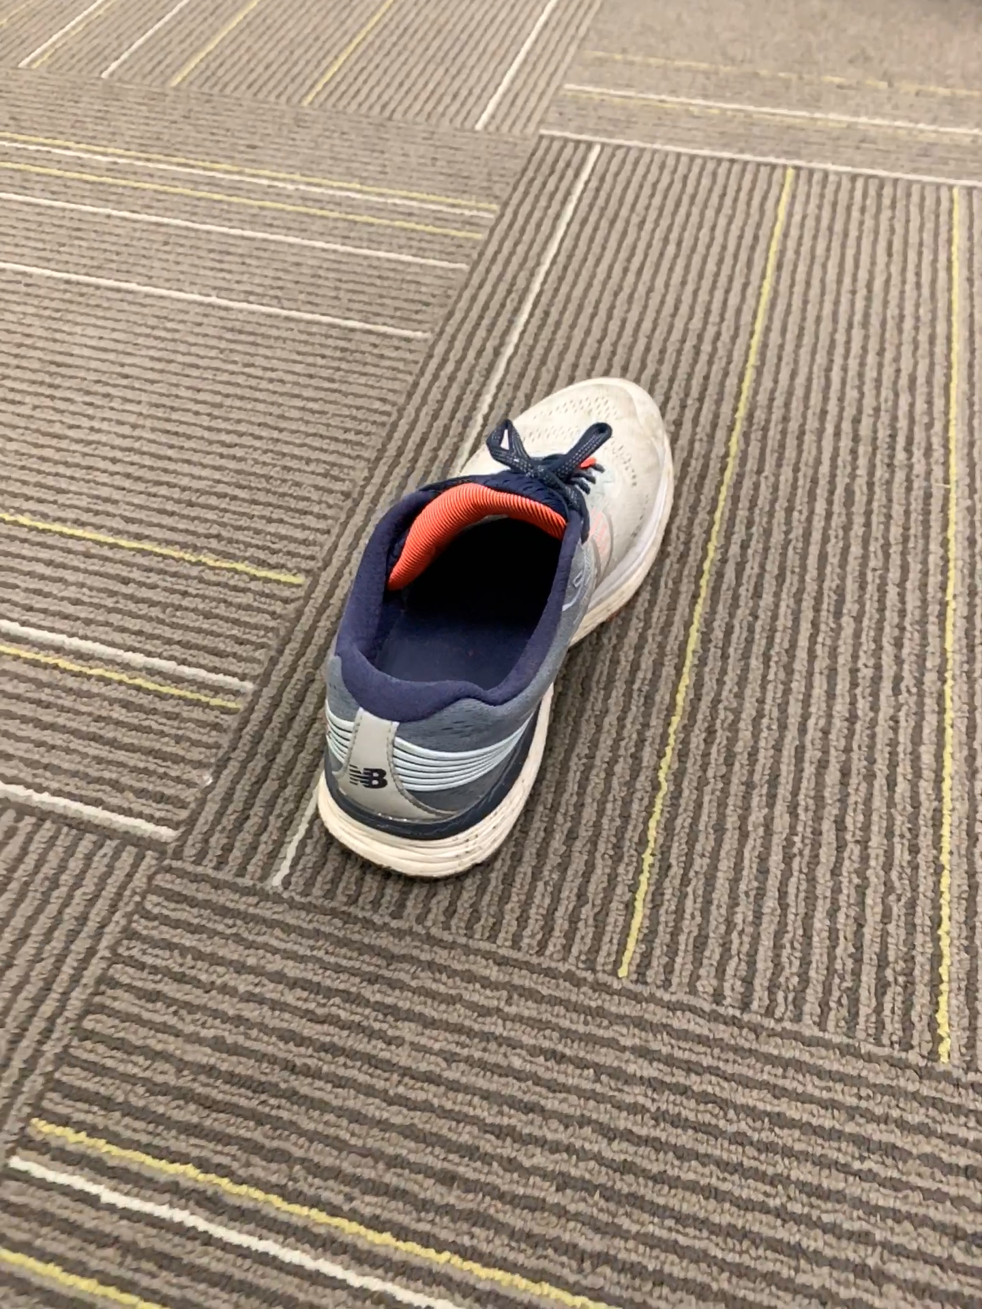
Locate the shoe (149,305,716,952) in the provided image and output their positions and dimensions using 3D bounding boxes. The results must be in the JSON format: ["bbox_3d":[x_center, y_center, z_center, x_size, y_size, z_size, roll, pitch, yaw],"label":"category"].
[{"bbox_3d":[-0.007,-0.033,0.468,0.130,0.080,0.291,19,55,15],"label":"shoe"}]
